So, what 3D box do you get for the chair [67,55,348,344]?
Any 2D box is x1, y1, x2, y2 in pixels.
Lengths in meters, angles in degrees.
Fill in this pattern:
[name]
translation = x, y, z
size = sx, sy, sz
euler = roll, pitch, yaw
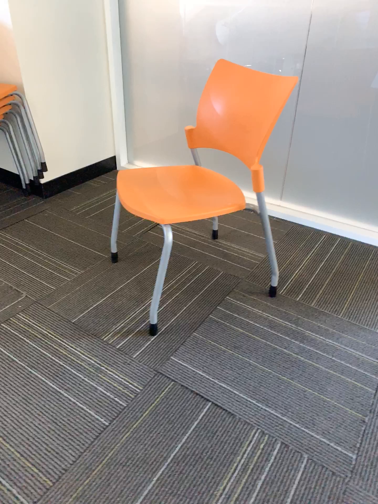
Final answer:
[chair]
translation = 0.006, -0.268, 1.487
size = 0.680, 0.795, 0.684
euler = -14, 36, -23
